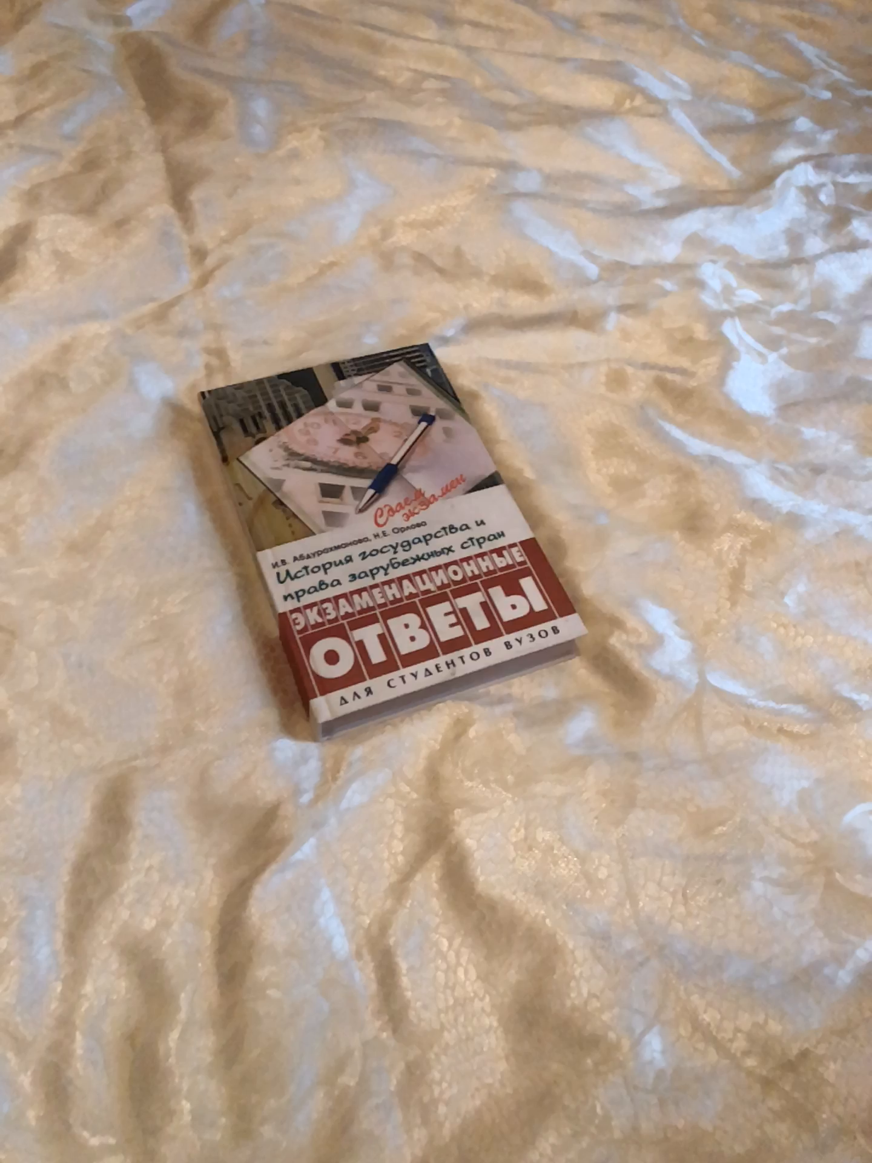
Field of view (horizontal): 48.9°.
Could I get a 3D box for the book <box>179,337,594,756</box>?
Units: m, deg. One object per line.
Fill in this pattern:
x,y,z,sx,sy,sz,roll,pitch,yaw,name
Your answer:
-0.034,-0.031,0.498,0.150,0.030,0.211,-15,58,-14,book
